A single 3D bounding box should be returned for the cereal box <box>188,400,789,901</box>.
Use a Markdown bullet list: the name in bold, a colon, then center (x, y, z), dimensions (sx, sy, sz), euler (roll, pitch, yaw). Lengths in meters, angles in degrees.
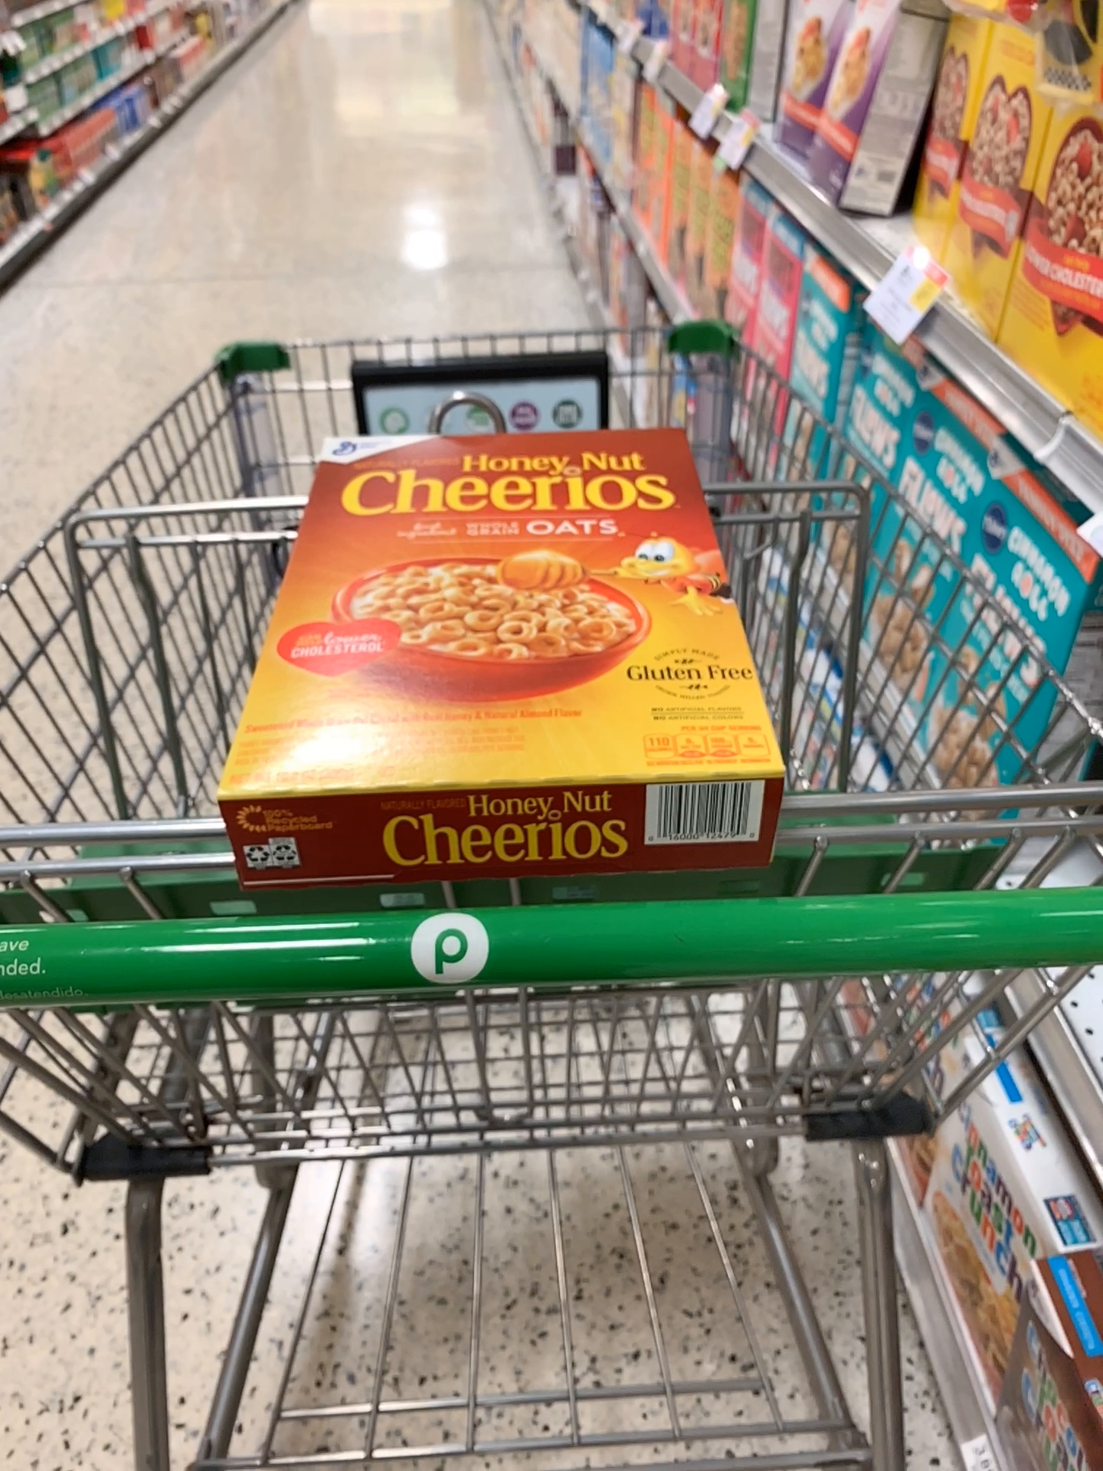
- **cereal box**: center (-0.025, -0.059, 0.514), dimensions (0.200, 0.059, 0.293), euler (-2, 39, -1)
